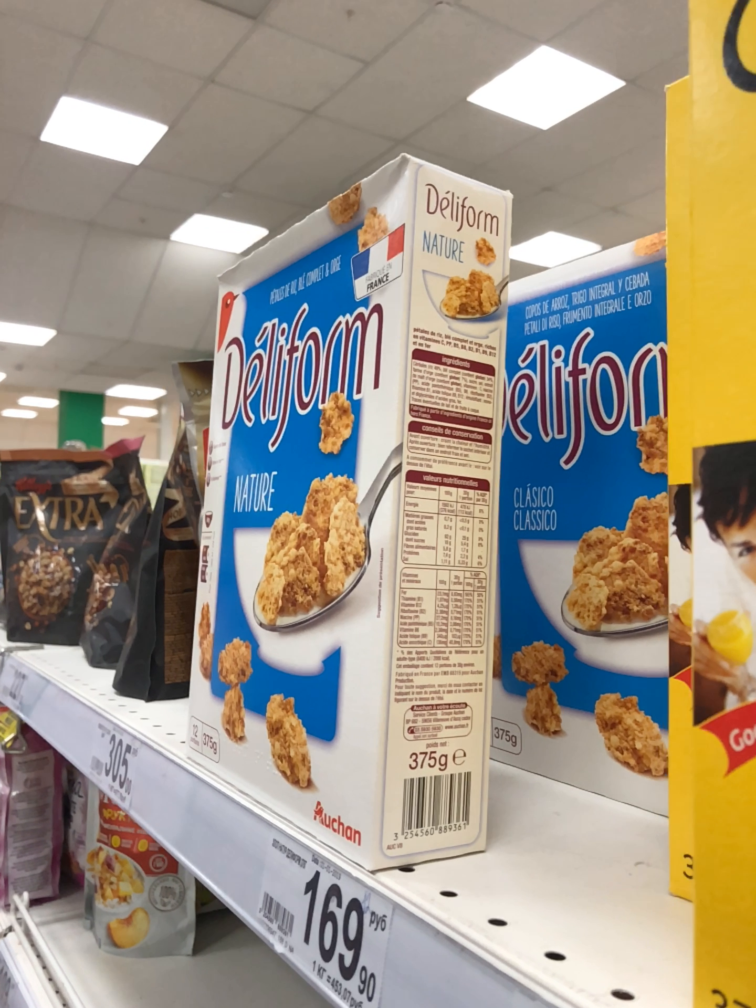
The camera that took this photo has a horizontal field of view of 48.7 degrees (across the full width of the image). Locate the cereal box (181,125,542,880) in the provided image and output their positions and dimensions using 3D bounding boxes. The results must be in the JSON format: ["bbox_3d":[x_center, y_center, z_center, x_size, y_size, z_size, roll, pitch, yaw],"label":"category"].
[{"bbox_3d":[-0.020,-0.001,0.397,0.060,0.270,0.200,6,-5,-33],"label":"cereal box"}]
